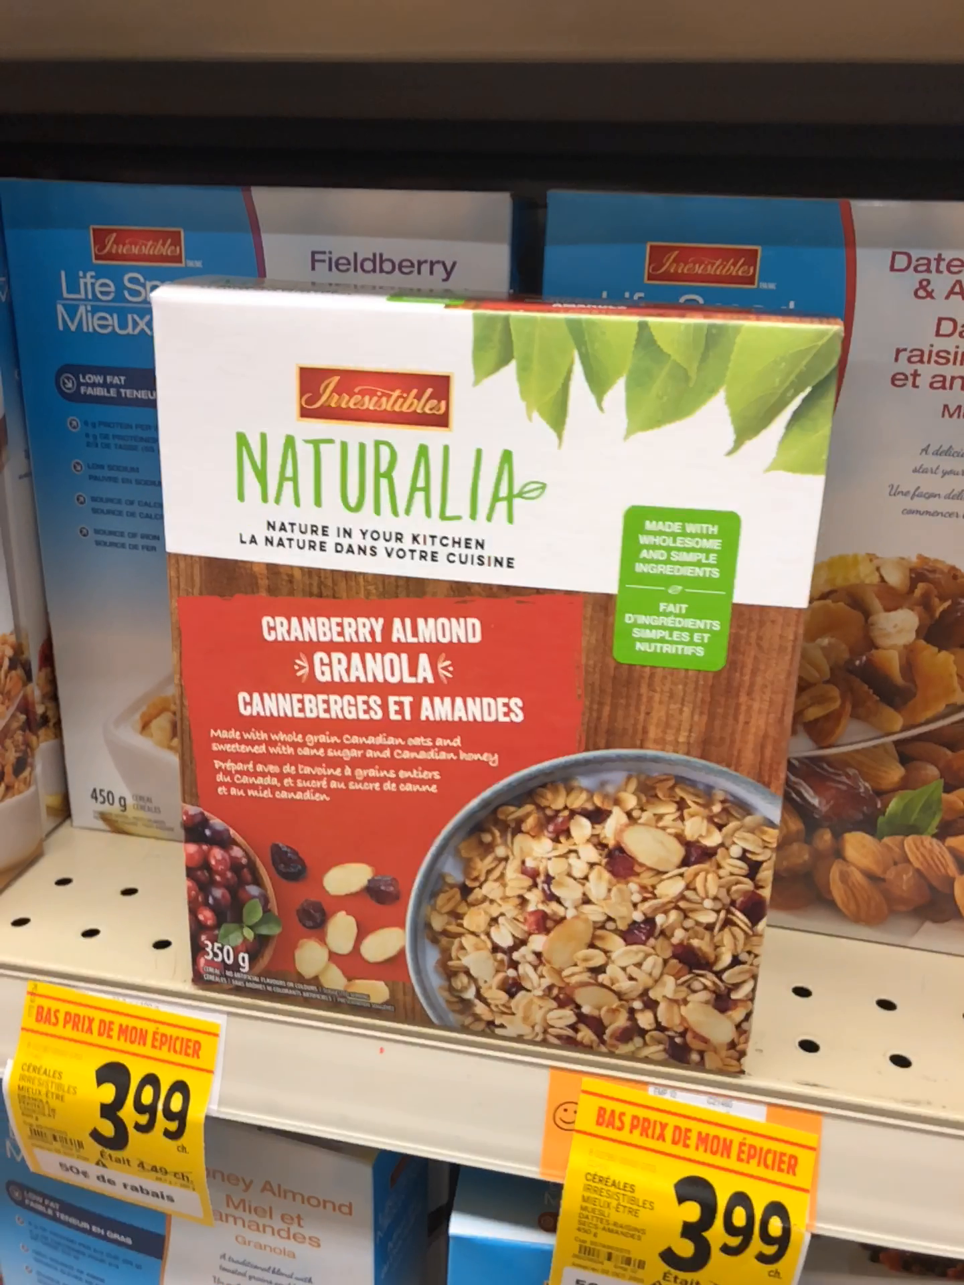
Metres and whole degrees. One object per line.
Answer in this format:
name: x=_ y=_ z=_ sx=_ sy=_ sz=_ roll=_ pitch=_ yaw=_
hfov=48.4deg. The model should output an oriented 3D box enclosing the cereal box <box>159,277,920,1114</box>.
cereal box: x=0.010 y=0.012 z=0.300 sx=0.170 sy=0.209 sz=0.060 roll=6 pitch=20 yaw=10
